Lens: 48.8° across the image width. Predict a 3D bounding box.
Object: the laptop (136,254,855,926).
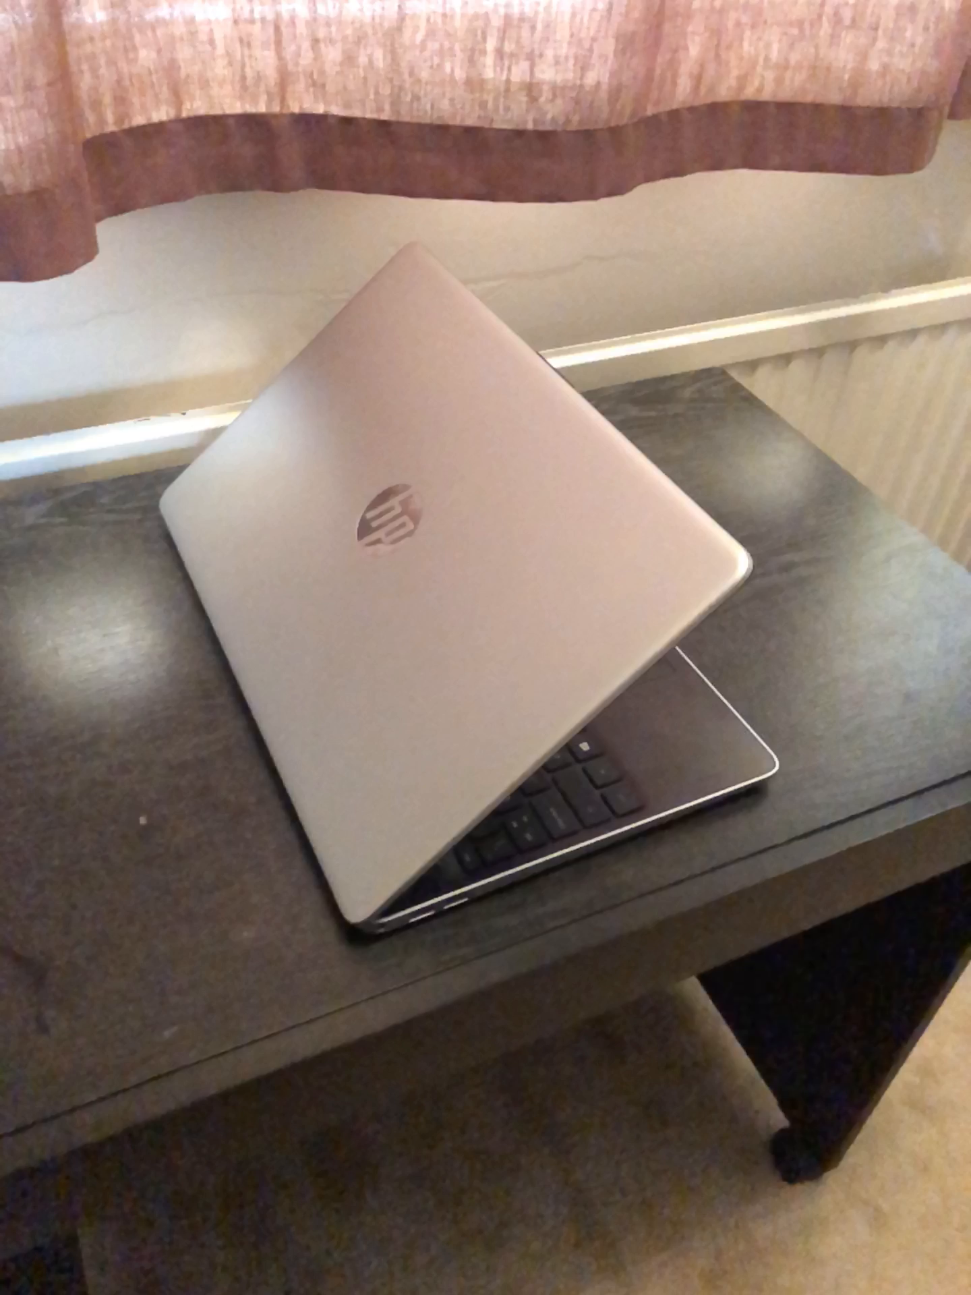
[{"bbox_3d":[-0.021,-0.071,0.595,0.237,0.141,0.363,-15,45,-24],"label":"laptop"}]
